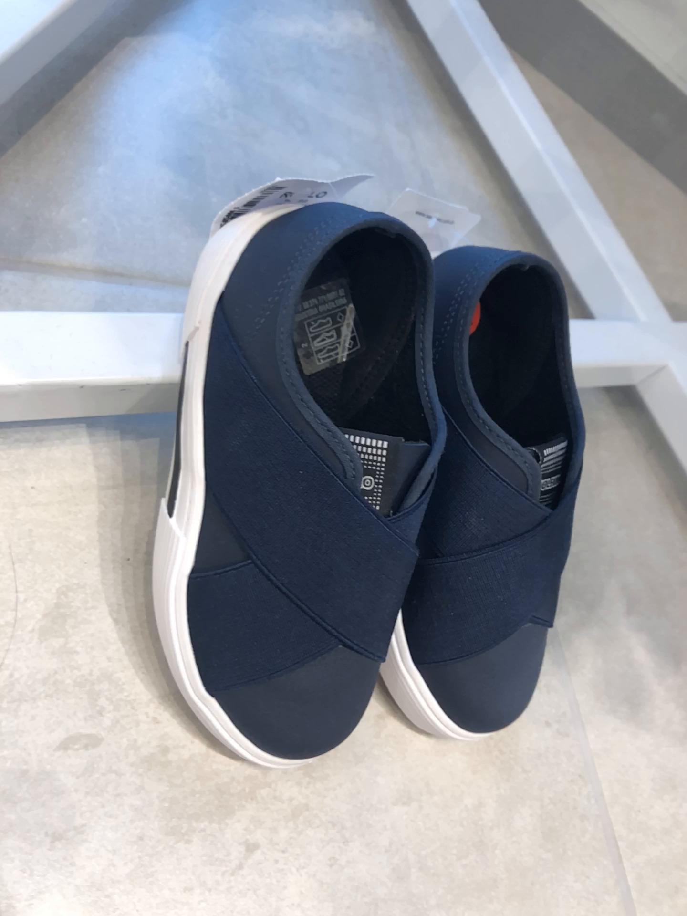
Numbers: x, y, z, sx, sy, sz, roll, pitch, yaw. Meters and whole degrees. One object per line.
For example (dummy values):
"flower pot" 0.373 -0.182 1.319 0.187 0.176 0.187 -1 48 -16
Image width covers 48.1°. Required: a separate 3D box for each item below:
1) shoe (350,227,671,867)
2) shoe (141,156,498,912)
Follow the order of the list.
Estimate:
"shoe" 0.051 0.022 0.258 0.070 0.070 0.180 -5 100 -33
"shoe" -0.011 0.017 0.228 0.070 0.070 0.180 -3 100 -38
